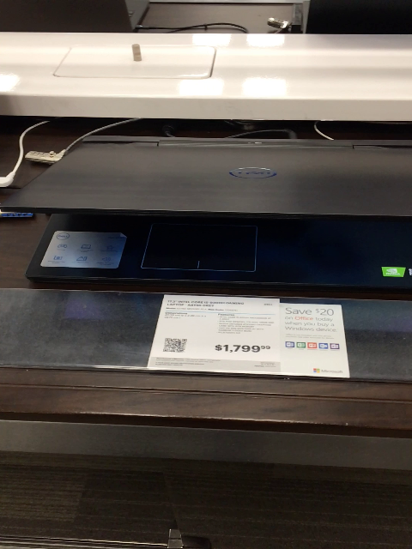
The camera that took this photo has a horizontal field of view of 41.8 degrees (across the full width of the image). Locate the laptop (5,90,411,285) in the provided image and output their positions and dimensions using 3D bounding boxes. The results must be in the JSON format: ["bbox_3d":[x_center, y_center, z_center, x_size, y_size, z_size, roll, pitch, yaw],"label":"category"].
[{"bbox_3d":[0.058,-0.108,0.600,0.456,0.085,0.248,2,46,4],"label":"laptop"}]
